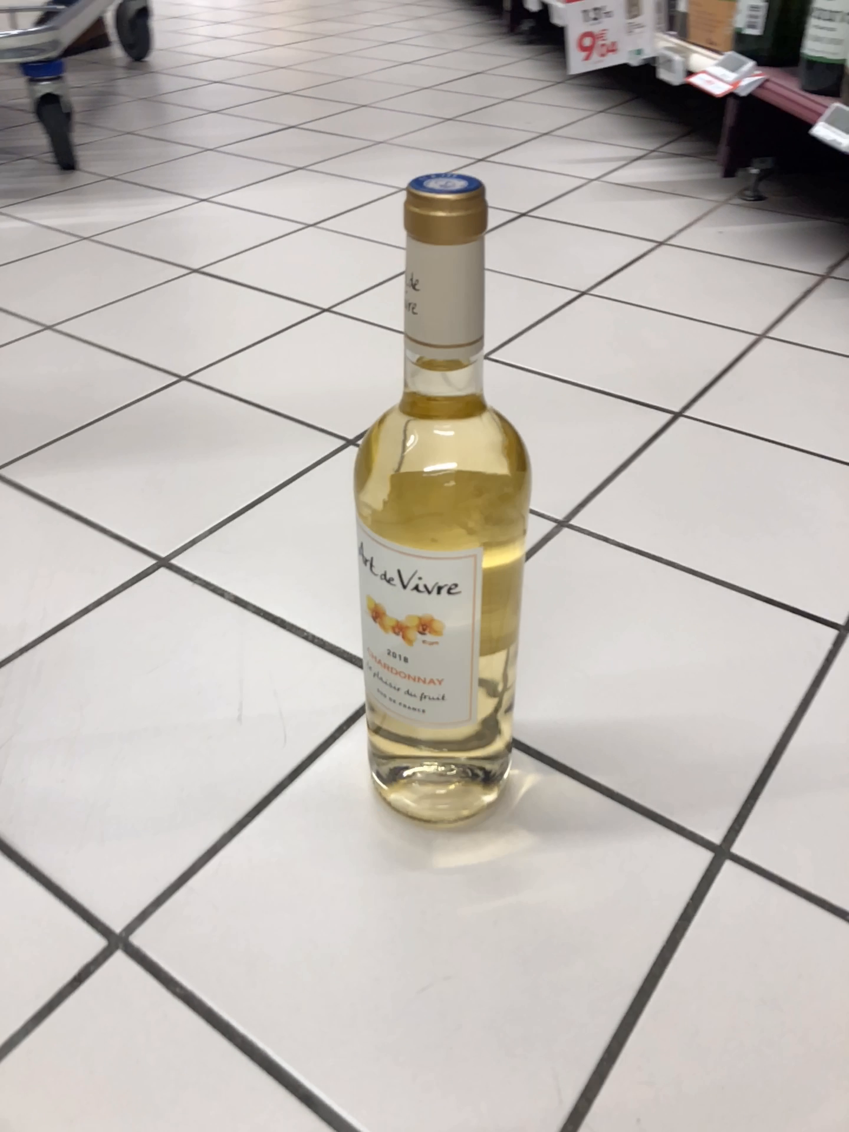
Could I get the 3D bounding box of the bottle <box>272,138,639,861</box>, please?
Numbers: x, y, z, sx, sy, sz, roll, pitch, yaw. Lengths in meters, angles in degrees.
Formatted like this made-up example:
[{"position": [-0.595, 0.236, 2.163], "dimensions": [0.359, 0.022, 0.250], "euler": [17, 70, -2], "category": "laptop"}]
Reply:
[{"position": [0.014, -0.014, 0.400], "dimensions": [0.090, 0.288, 0.091], "euler": [0, 37, 0], "category": "bottle"}]
